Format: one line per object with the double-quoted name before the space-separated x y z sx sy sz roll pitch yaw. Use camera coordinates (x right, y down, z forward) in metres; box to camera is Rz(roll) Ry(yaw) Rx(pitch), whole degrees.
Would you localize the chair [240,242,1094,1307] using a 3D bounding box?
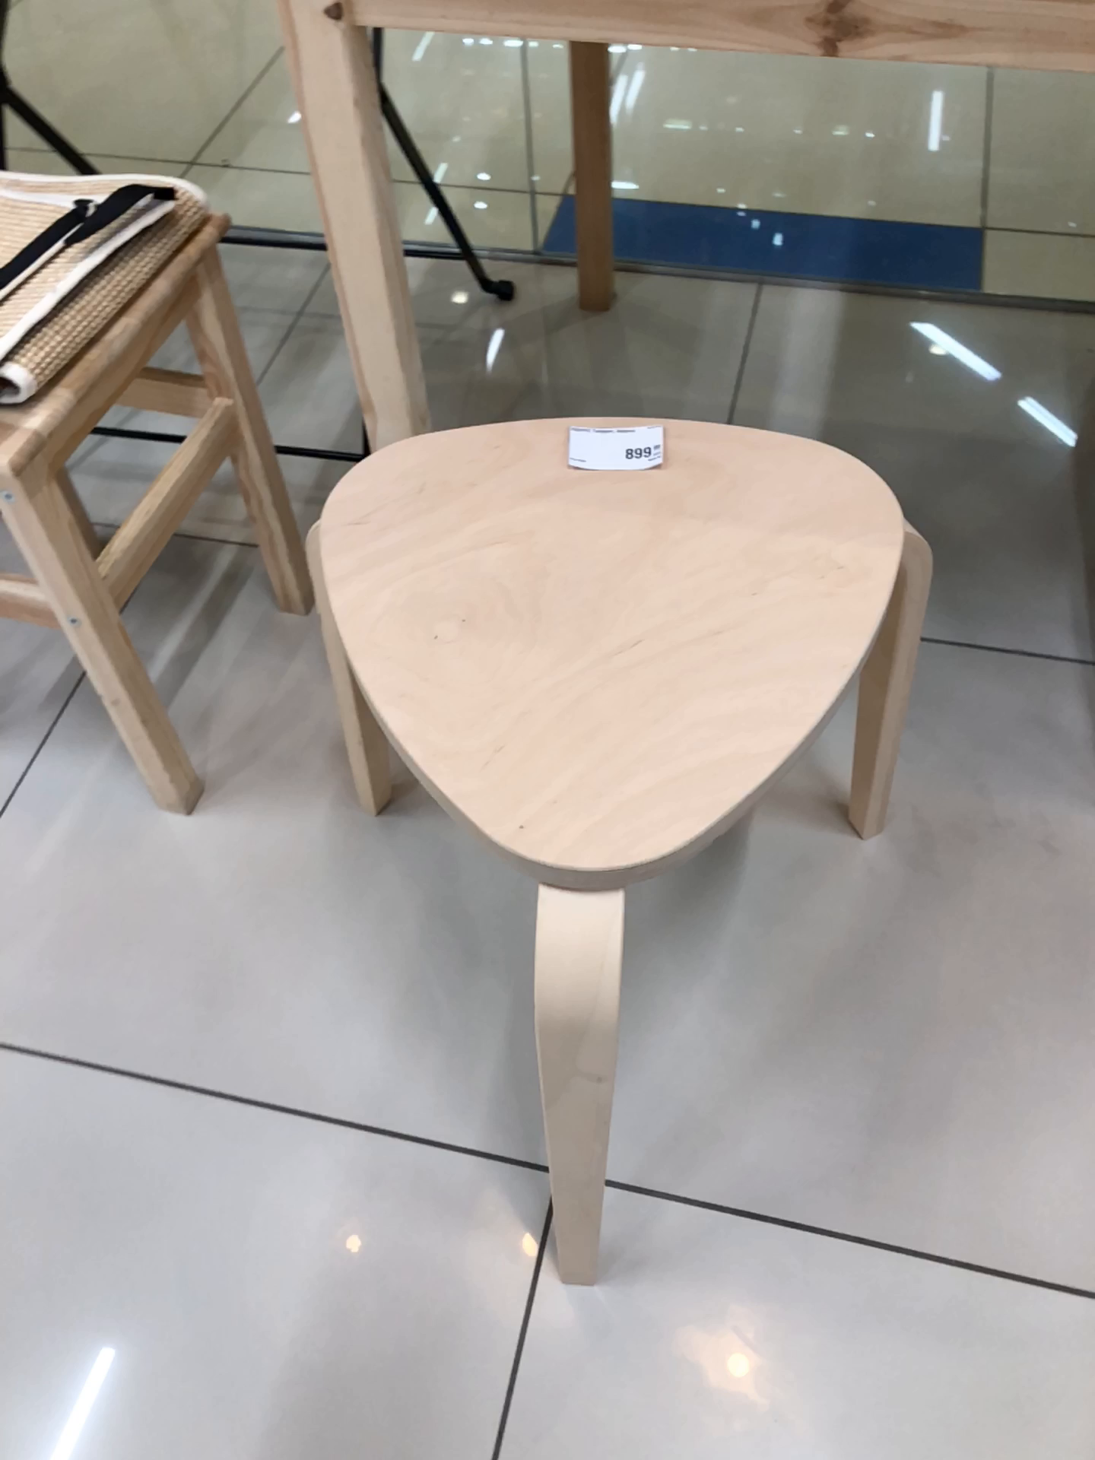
"chair" 0.104 0.033 0.885 0.431 0.467 0.492 -21 54 -12
